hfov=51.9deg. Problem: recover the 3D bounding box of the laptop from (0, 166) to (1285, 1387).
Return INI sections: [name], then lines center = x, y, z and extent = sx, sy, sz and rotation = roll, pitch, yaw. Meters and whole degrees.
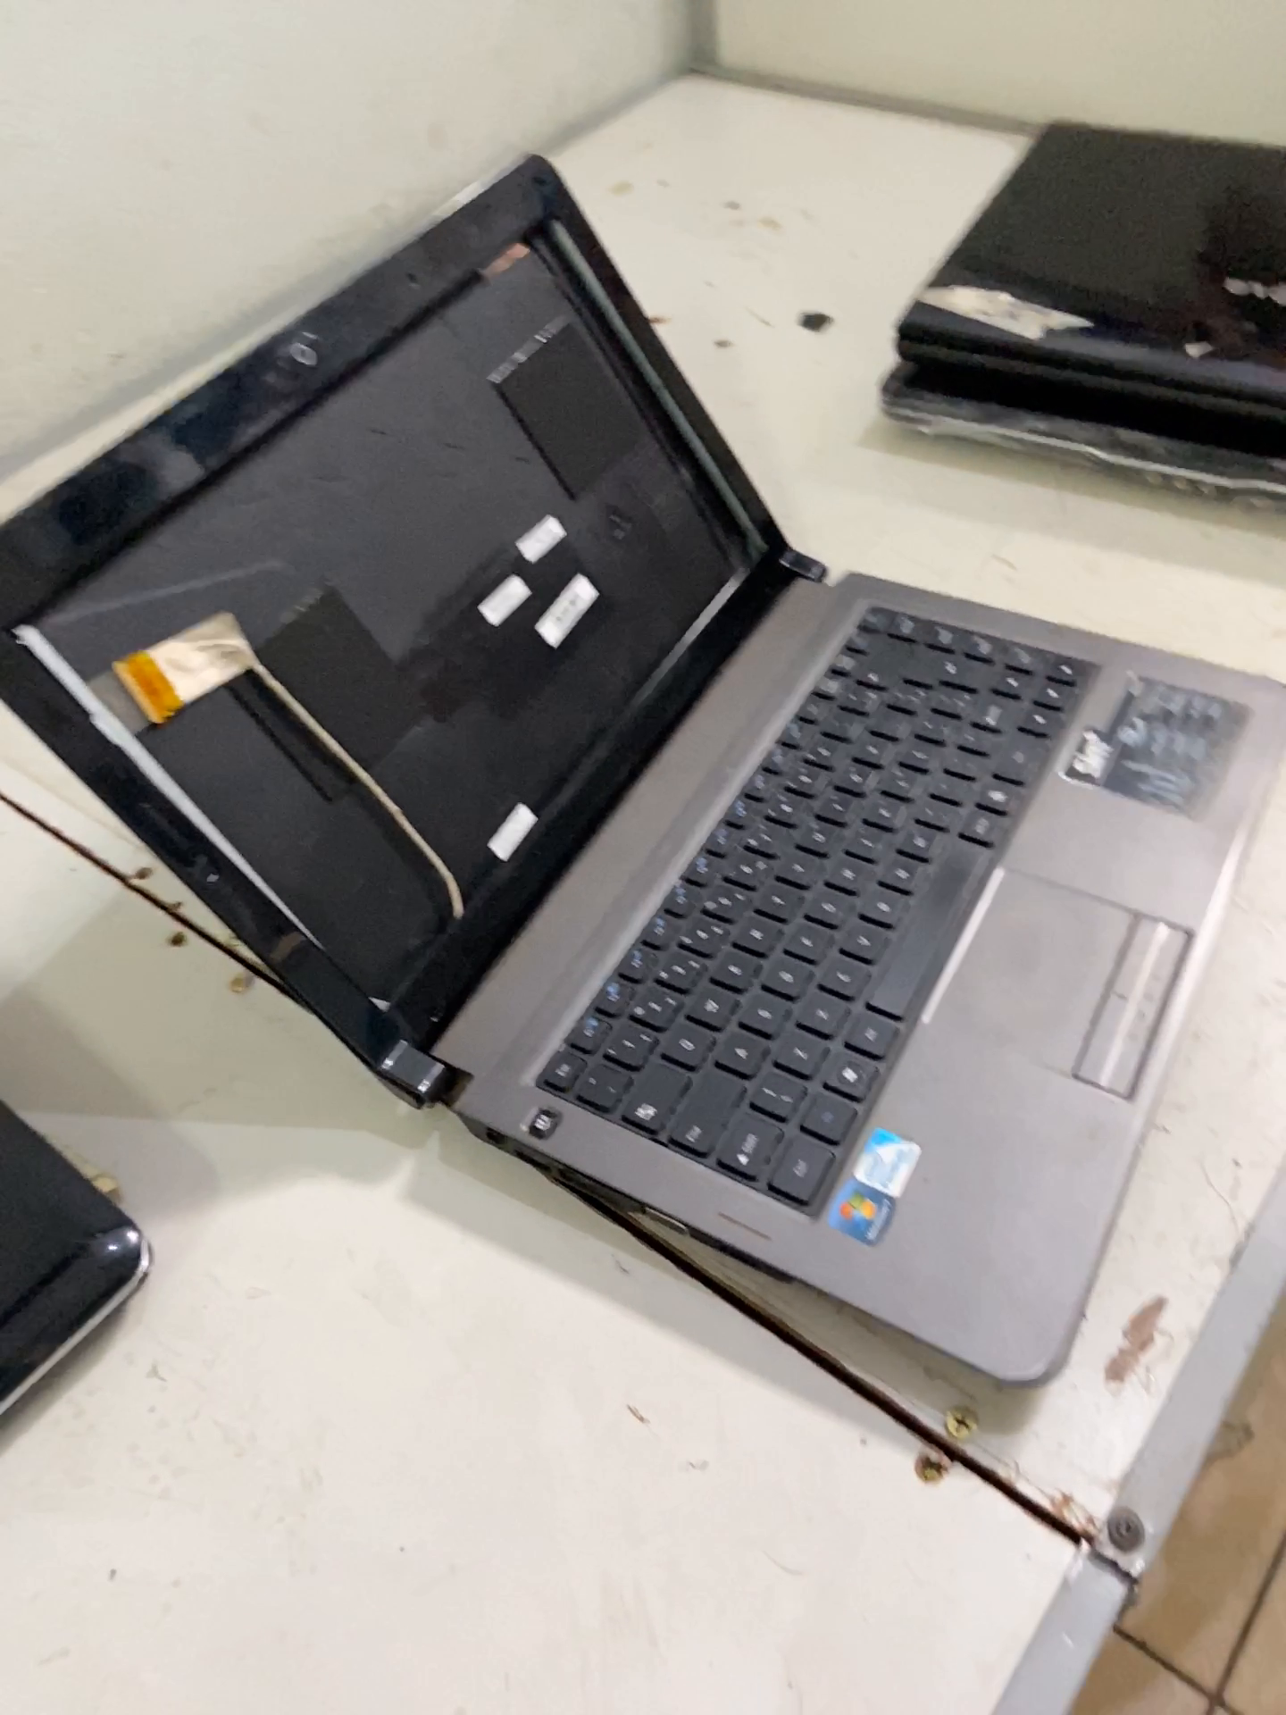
[laptop]
center = 0.031, -0.078, 0.489
extent = 0.365, 0.174, 0.344
rotation = 20, 53, 23
